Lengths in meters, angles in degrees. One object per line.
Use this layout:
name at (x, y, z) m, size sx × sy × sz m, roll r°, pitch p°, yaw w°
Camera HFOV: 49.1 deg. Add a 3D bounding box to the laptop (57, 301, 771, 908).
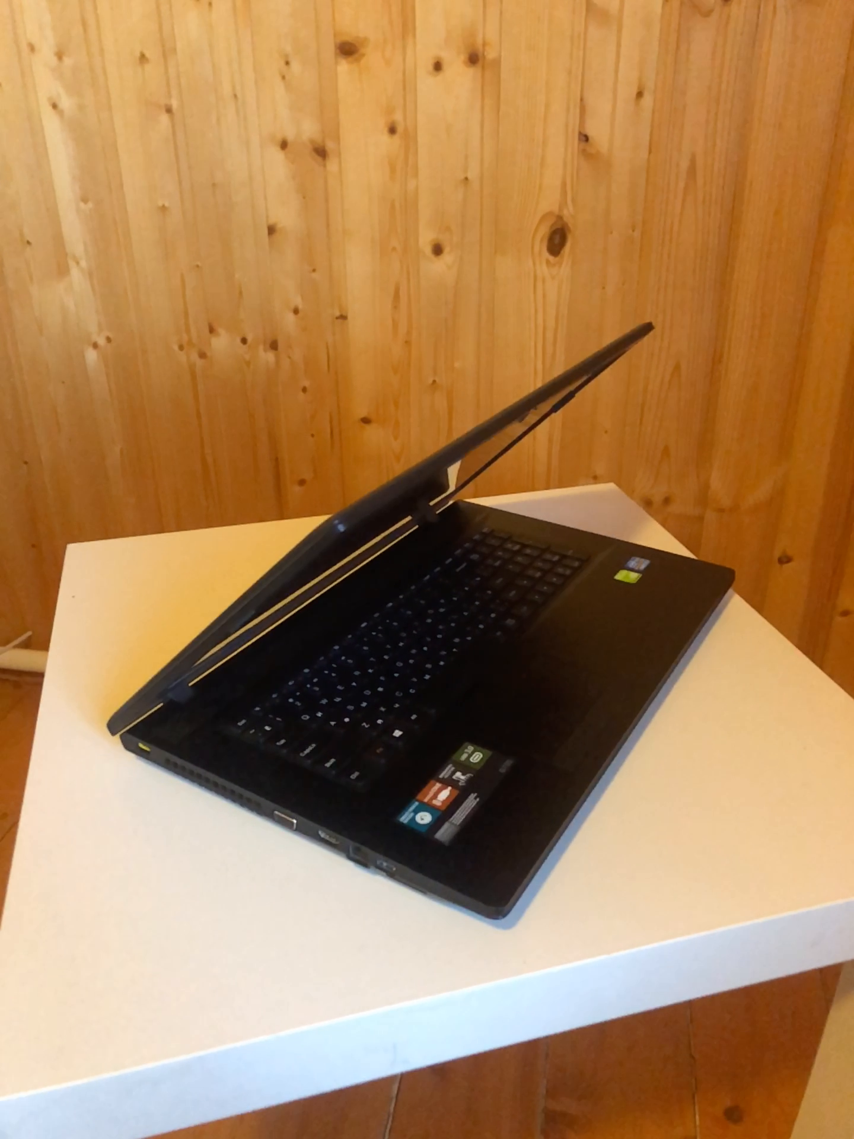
laptop at (0.027, -0.033, 0.634) m, size 0.272 × 0.184 × 0.412 m, roll 16°, pitch 32°, yaw 28°
